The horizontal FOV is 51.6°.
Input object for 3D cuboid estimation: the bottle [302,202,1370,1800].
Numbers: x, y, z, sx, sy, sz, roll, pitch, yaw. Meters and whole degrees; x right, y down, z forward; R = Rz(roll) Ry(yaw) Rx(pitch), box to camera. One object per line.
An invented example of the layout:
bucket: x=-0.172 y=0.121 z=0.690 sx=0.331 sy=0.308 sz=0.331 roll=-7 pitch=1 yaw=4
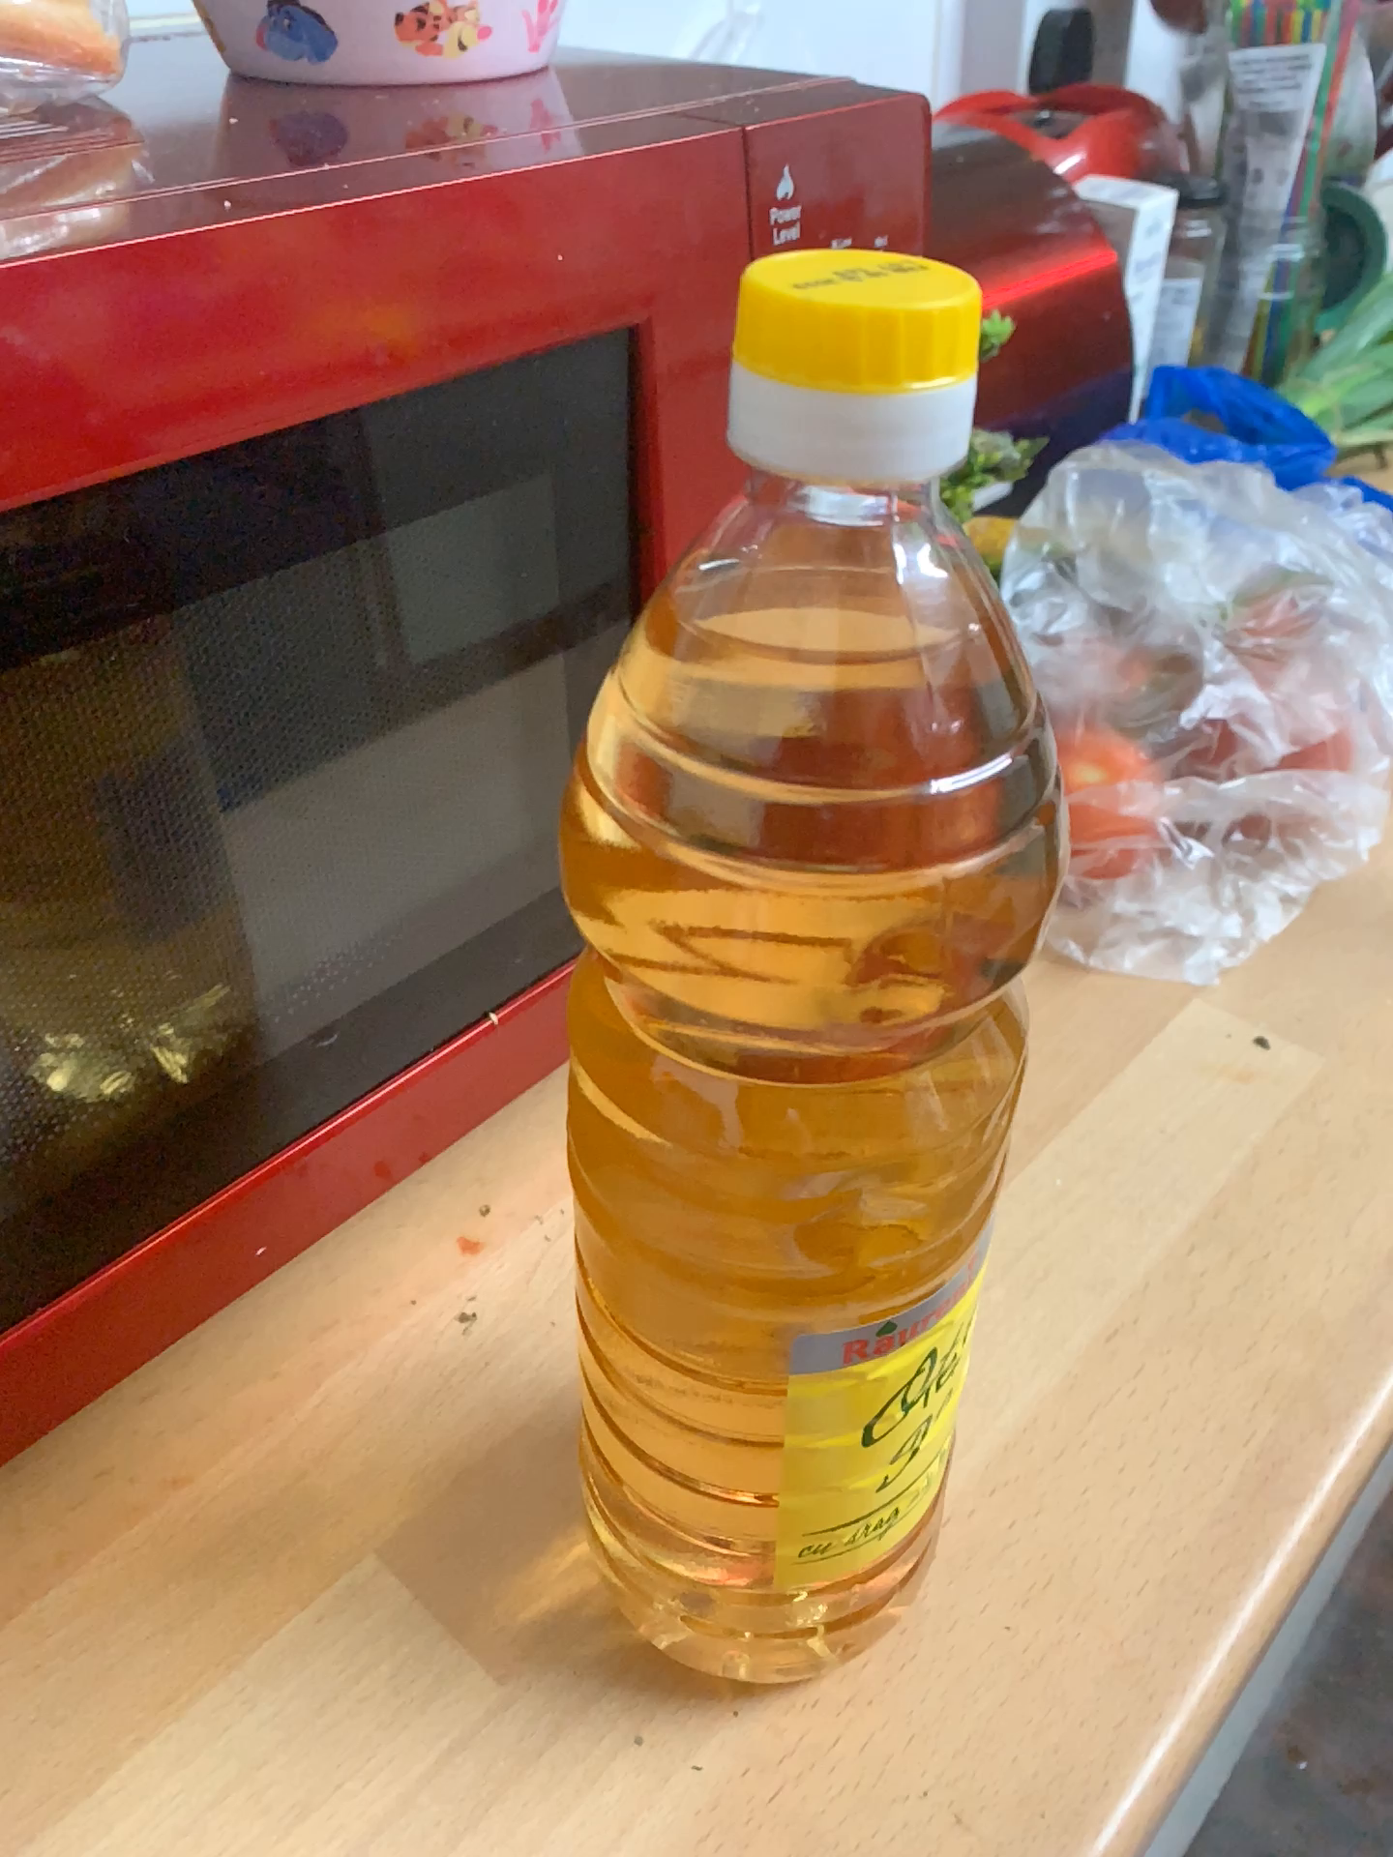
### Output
bottle: x=0.016 y=0.022 z=0.229 sx=0.090 sy=0.228 sz=0.080 roll=-29 pitch=45 yaw=-33
